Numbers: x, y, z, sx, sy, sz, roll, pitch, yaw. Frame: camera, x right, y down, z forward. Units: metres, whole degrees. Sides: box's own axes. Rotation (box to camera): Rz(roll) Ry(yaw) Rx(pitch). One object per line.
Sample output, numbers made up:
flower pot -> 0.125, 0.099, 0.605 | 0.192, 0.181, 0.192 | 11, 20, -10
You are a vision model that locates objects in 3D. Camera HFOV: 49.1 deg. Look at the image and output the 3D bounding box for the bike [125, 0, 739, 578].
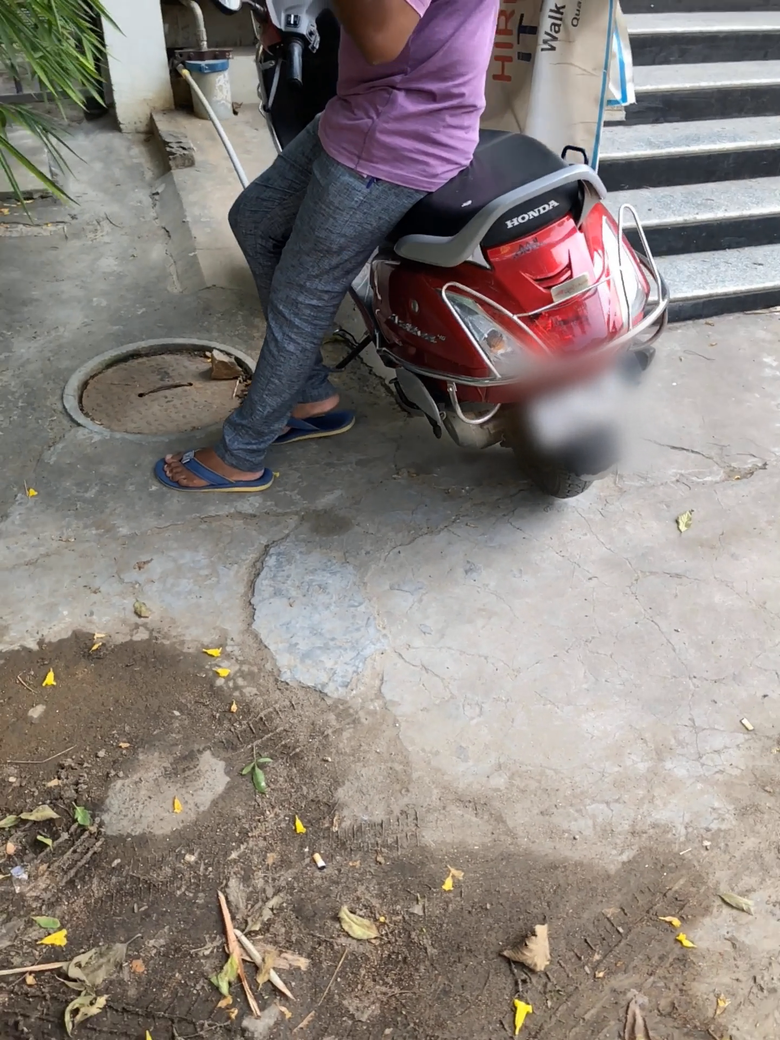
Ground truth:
bike -> -0.062, -0.832, 1.981 | 0.573, 1.056, 1.483 | -16, 43, -21
